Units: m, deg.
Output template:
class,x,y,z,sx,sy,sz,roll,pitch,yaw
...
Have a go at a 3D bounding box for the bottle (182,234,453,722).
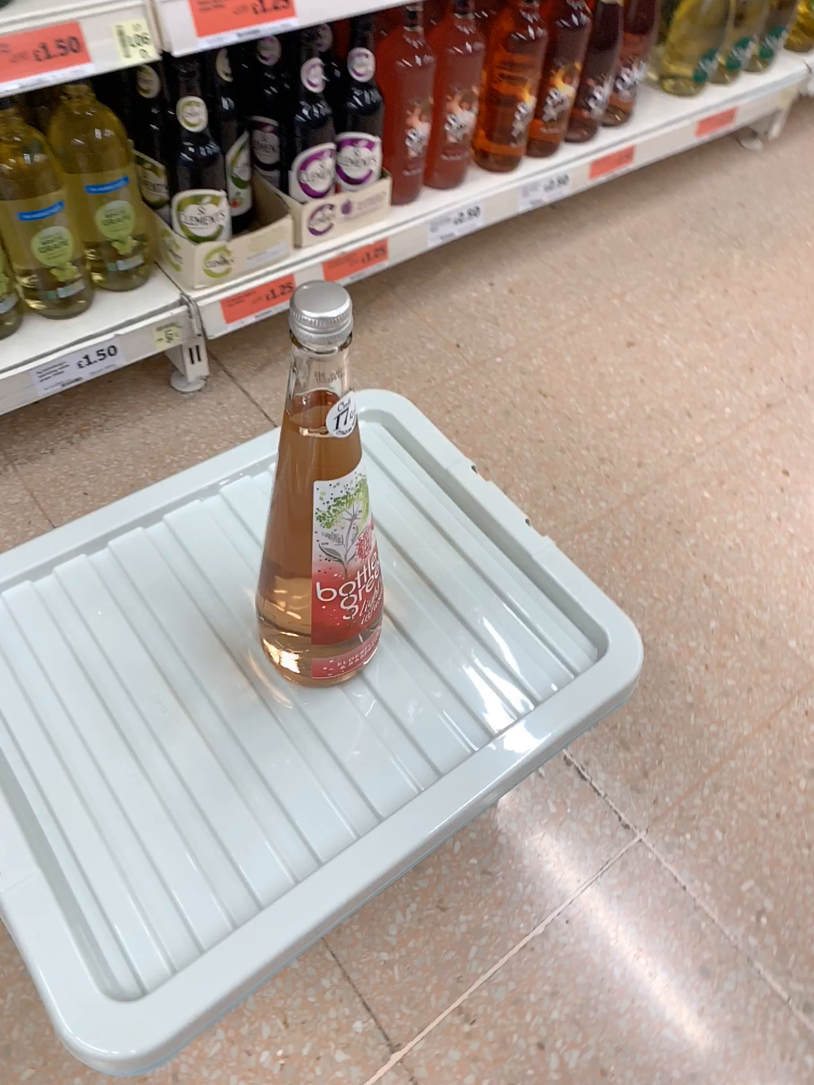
class,x,y,z,sx,sy,sz,roll,pitch,yaw
bottle,-0.052,-0.013,0.488,0.081,0.299,0.090,-33,64,-26
